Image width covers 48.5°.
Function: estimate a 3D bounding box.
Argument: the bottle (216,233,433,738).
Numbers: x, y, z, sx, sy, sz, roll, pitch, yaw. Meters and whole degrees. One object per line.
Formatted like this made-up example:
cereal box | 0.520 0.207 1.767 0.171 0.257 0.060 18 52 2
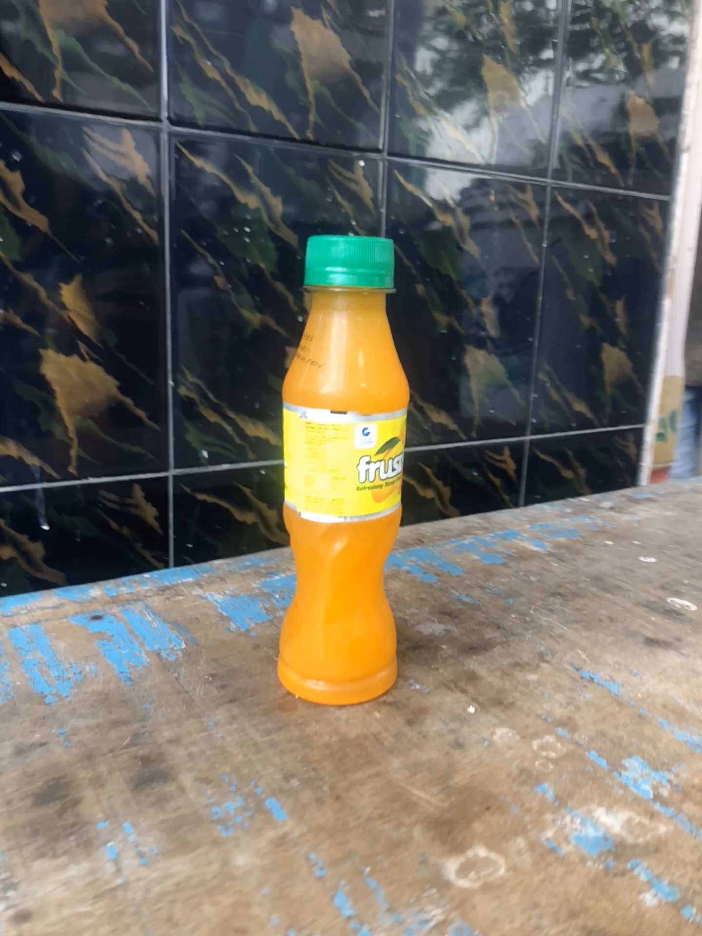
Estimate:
bottle | -0.011 0.003 0.291 0.050 0.169 0.060 11 16 32
